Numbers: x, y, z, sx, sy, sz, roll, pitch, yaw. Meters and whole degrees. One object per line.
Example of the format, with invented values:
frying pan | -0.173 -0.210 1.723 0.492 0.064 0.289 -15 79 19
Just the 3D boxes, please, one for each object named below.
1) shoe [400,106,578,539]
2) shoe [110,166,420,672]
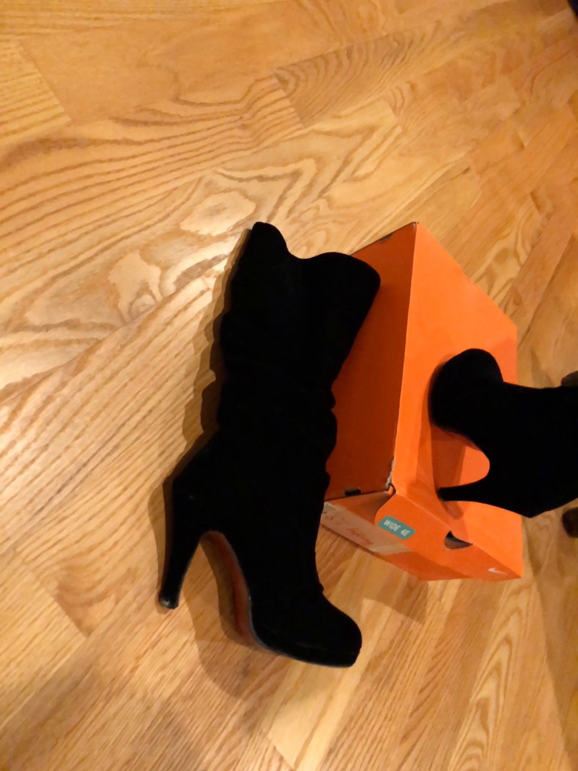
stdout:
shoe | 0.291 -0.019 0.505 0.089 0.397 0.217 39 49 -30
shoe | 0.010 0.022 0.576 0.206 0.089 0.400 33 52 -32
